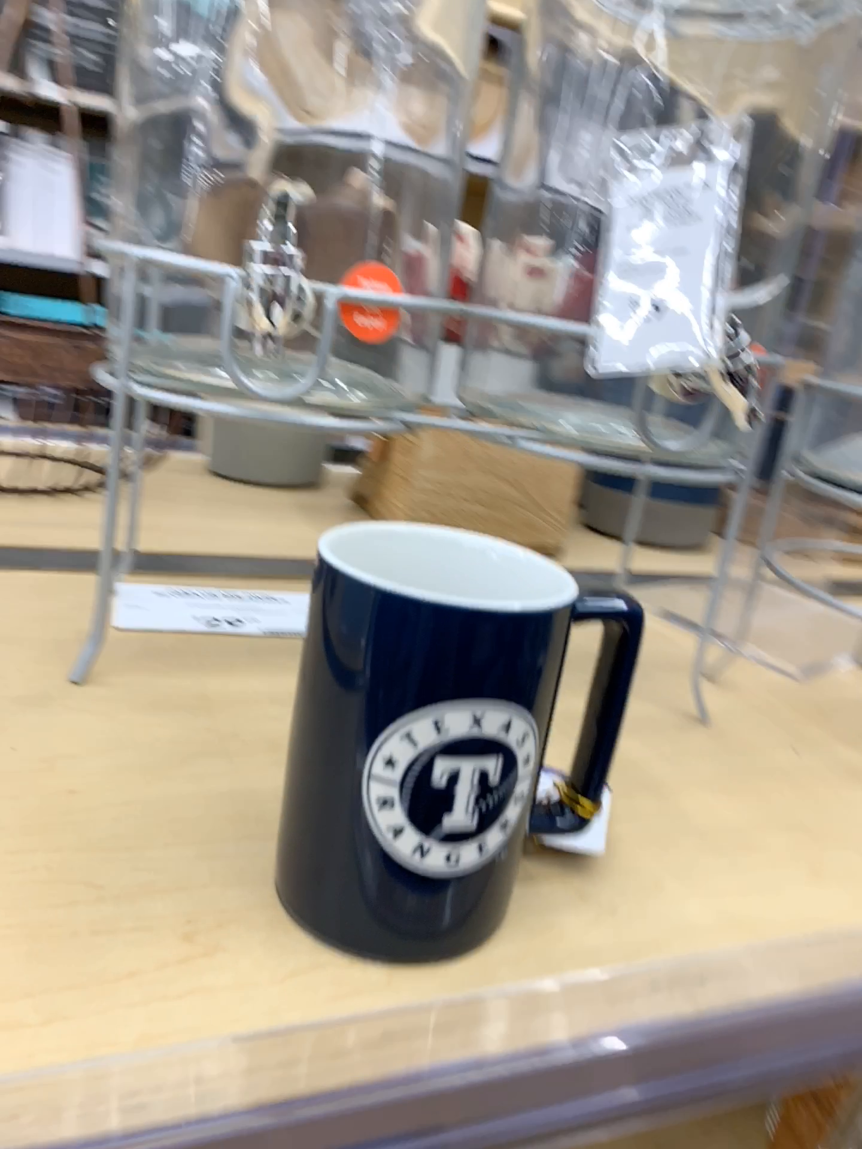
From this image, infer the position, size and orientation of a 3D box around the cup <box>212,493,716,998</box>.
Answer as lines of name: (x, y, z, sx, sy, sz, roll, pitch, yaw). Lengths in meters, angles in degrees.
cup: (0.002, 0.047, 0.299, 0.123, 0.121, 0.097, 2, 18, -24)
